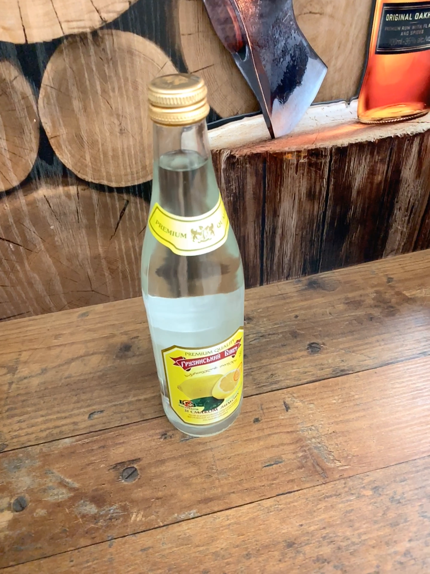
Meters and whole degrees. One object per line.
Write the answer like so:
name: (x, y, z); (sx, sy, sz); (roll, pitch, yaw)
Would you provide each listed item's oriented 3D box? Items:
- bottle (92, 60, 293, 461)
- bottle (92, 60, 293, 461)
bottle: (-0.010, 0.003, 0.251); (0.070, 0.219, 0.070); (-1, 41, 1)
bottle: (-0.010, 0.003, 0.251); (0.070, 0.219, 0.070); (-1, 41, 1)
